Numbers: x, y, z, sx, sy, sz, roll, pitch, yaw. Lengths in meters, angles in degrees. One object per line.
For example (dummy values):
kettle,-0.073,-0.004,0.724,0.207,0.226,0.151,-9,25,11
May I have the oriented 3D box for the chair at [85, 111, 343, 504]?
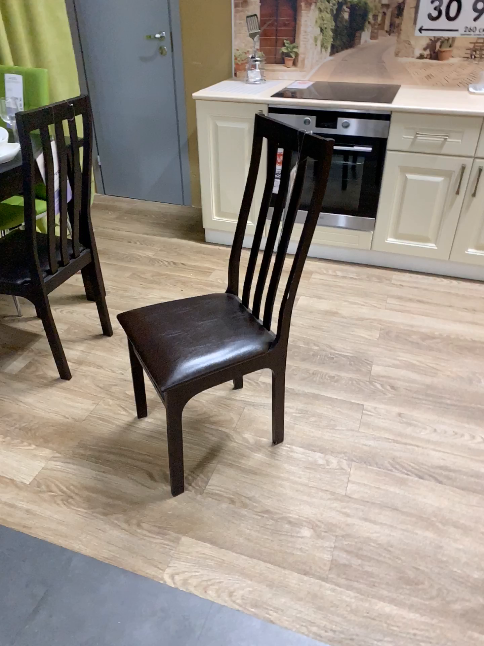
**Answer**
chair,-0.081,-0.038,1.458,0.491,0.985,0.422,-16,37,-22
